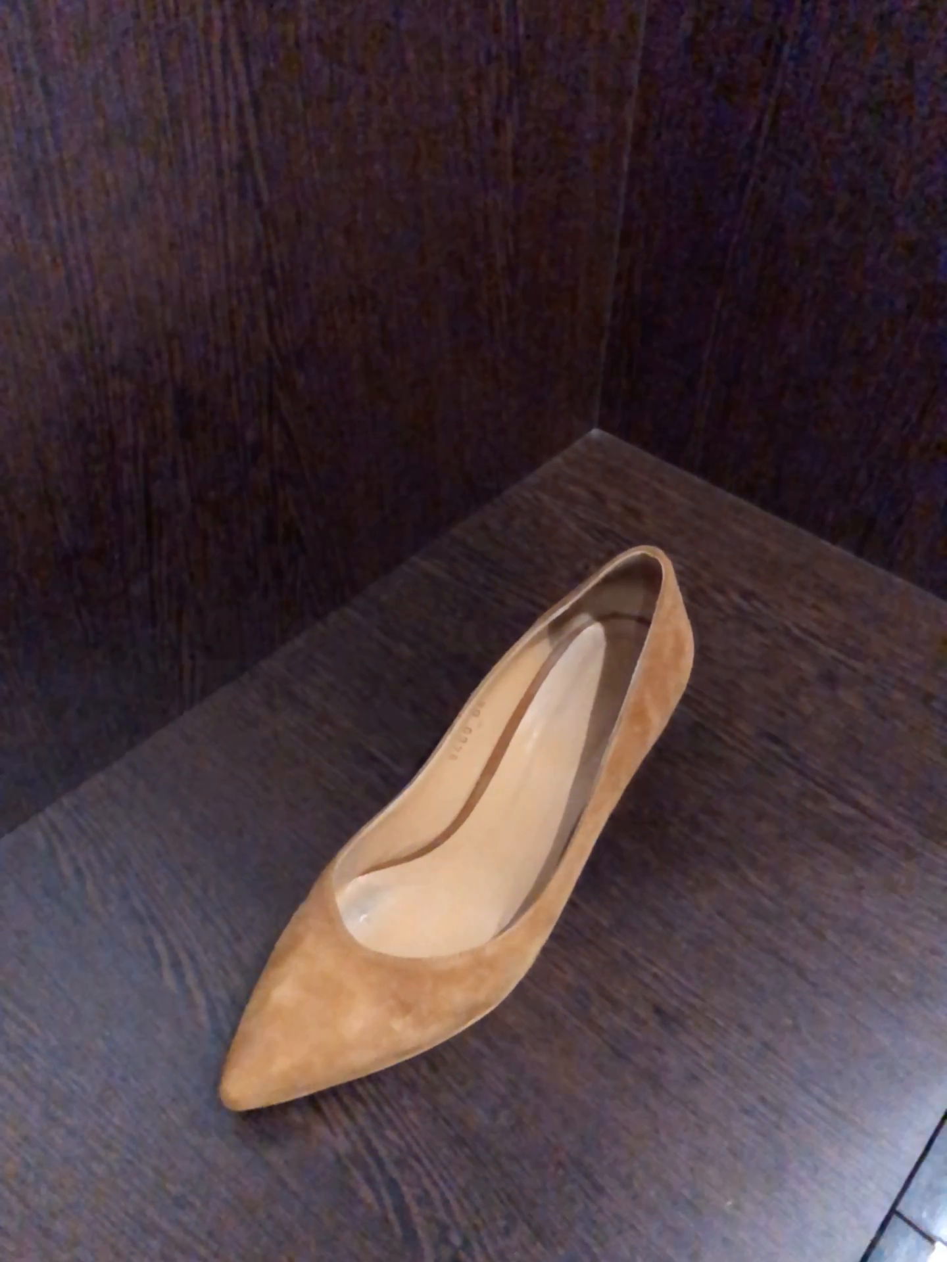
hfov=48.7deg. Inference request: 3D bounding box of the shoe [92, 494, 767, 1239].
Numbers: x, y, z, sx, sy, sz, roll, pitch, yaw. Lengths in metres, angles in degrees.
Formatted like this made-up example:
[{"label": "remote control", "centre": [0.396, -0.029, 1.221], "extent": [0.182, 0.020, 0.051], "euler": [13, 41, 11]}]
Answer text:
[{"label": "shoe", "centre": [0.003, 0.070, 0.405], "extent": [0.090, 0.100, 0.271], "euler": [28, 51, 25]}]
